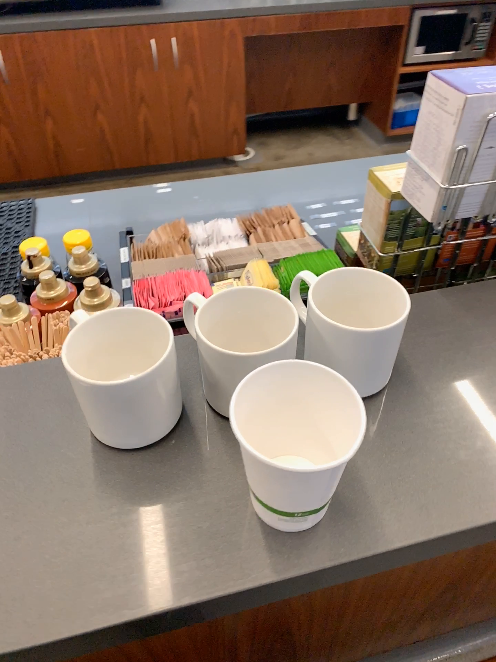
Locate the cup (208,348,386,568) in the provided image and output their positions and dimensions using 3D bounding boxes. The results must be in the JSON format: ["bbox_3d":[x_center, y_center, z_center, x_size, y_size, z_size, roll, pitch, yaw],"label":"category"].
[{"bbox_3d":[0.027,0.089,0.360,0.090,0.109,0.091,-1,43,1],"label":"cup"}]

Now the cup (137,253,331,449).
[{"bbox_3d":[-0.013,0.012,0.450,0.100,0.080,0.131,-33,52,-29],"label":"cup"}]

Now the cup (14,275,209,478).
[{"bbox_3d":[-0.112,0.033,0.428,0.090,0.080,0.131,-34,52,-30],"label":"cup"}]

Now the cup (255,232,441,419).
[{"bbox_3d":[0.087,-0.010,0.484,0.100,0.089,0.131,-31,51,-28],"label":"cup"}]
